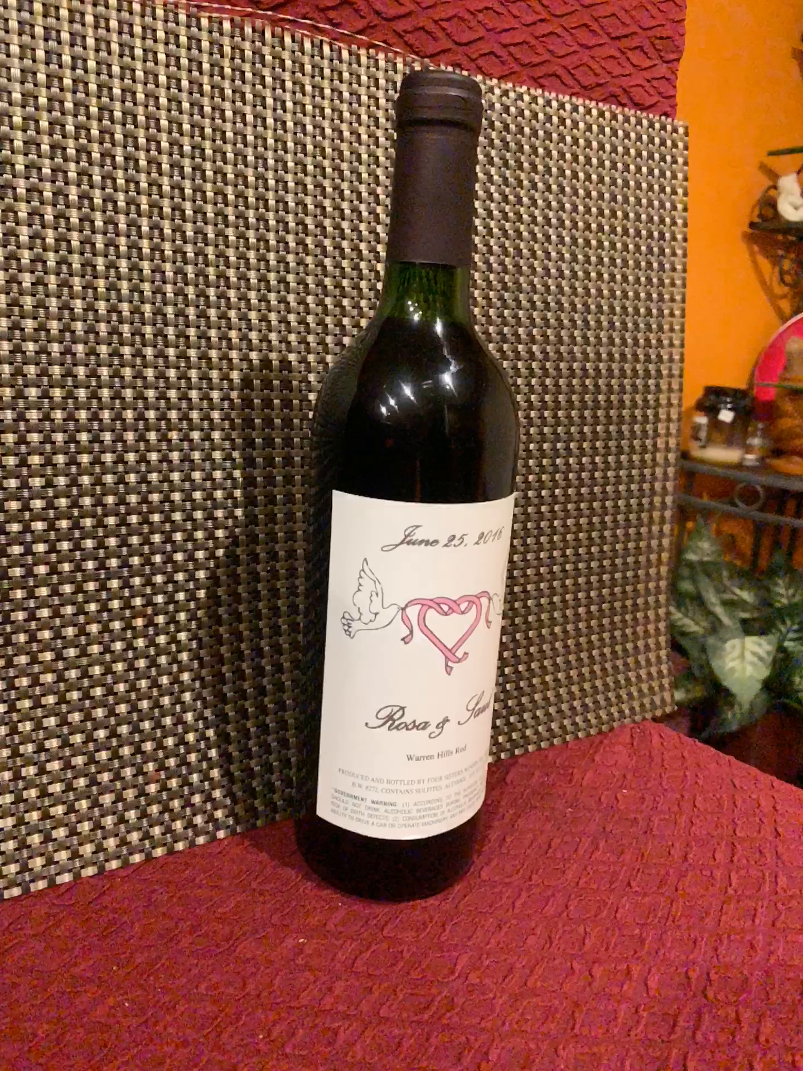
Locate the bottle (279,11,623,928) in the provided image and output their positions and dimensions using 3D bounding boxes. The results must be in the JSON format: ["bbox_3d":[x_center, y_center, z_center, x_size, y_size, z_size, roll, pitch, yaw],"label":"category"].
[{"bbox_3d":[0.009,-0.010,0.301,0.080,0.289,0.060,-3,17,-27],"label":"bottle"}]
